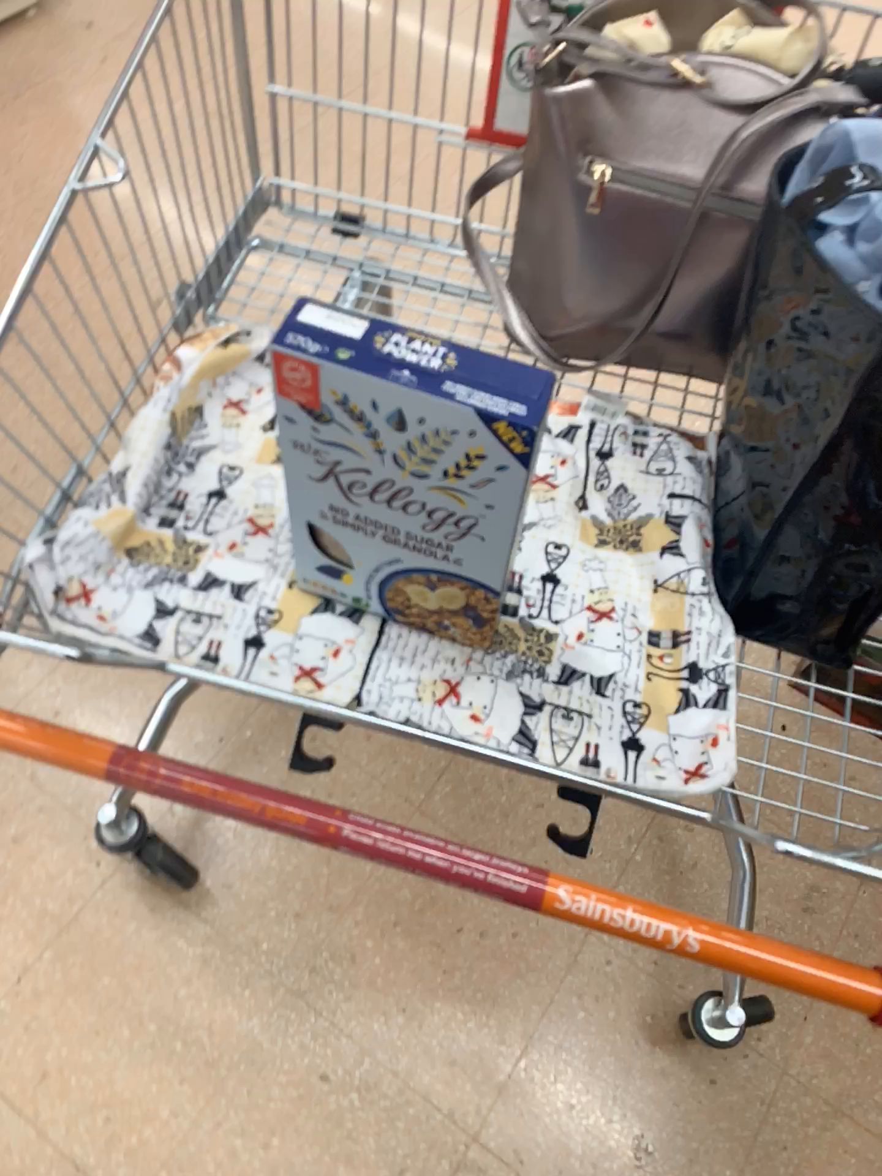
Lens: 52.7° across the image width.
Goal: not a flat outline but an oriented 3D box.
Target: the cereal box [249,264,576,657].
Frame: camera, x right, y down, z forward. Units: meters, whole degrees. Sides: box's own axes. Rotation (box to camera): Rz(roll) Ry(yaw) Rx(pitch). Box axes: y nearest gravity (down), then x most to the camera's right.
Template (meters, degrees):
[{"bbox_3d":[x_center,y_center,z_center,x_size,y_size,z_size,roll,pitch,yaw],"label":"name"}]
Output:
[{"bbox_3d":[-0.026,-0.066,0.582,0.170,0.248,0.050,19,55,7],"label":"cereal box"}]
